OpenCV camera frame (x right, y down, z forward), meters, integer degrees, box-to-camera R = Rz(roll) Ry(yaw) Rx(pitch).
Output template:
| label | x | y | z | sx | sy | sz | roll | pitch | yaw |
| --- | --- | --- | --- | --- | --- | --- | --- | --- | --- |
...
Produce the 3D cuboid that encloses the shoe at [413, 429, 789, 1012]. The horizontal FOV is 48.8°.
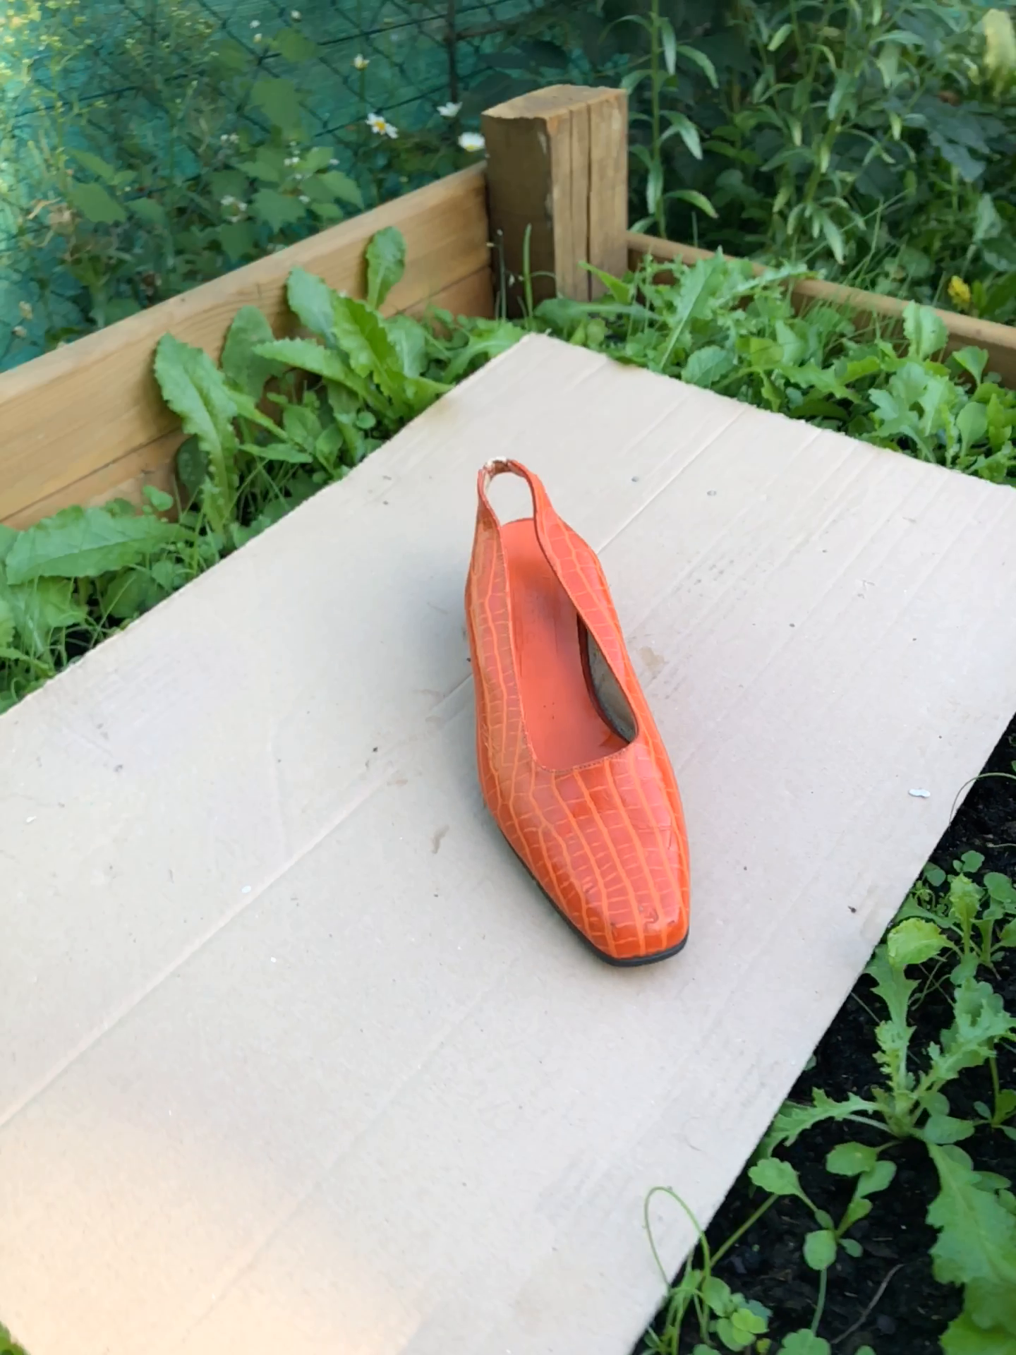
| label | x | y | z | sx | sy | sz | roll | pitch | yaw |
| --- | --- | --- | --- | --- | --- | --- | --- | --- | --- |
| shoe | 0.025 | 0.001 | 0.498 | 0.090 | 0.089 | 0.261 | -9 | 44 | -8 |
